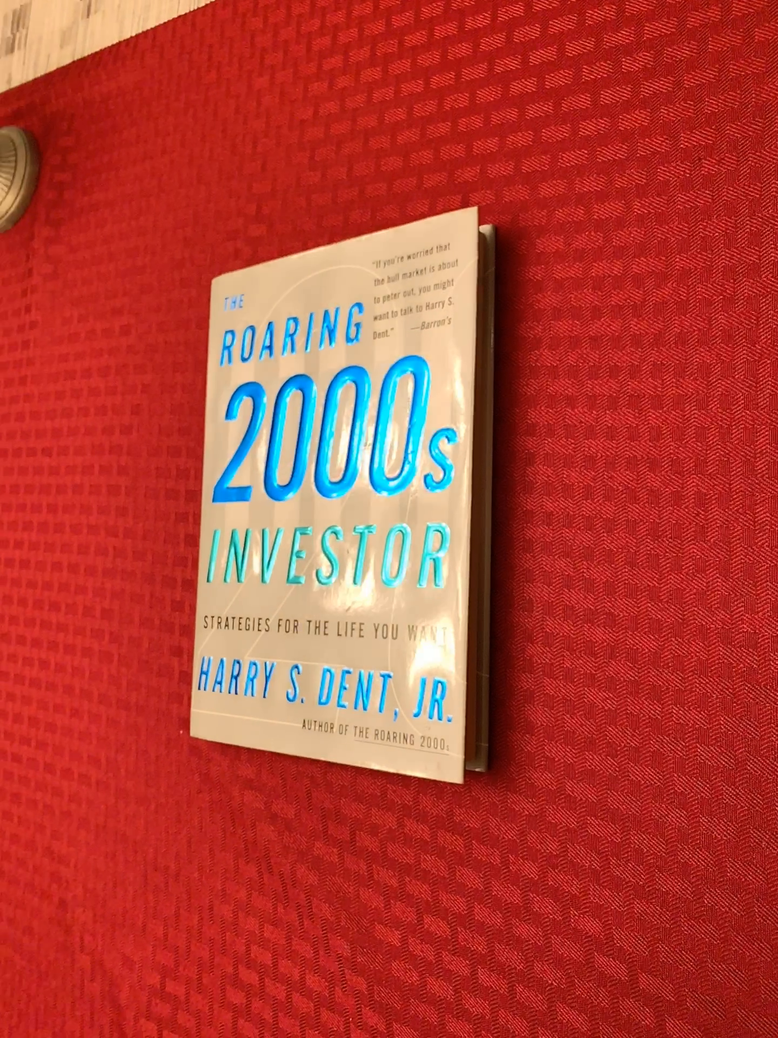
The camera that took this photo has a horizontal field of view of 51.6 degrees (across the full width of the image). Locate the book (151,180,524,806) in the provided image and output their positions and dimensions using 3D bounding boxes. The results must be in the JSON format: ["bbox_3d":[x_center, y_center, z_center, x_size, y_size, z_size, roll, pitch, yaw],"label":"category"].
[{"bbox_3d":[-0.027,-0.010,0.369,0.171,0.040,0.240,-2,82,33],"label":"book"}]
